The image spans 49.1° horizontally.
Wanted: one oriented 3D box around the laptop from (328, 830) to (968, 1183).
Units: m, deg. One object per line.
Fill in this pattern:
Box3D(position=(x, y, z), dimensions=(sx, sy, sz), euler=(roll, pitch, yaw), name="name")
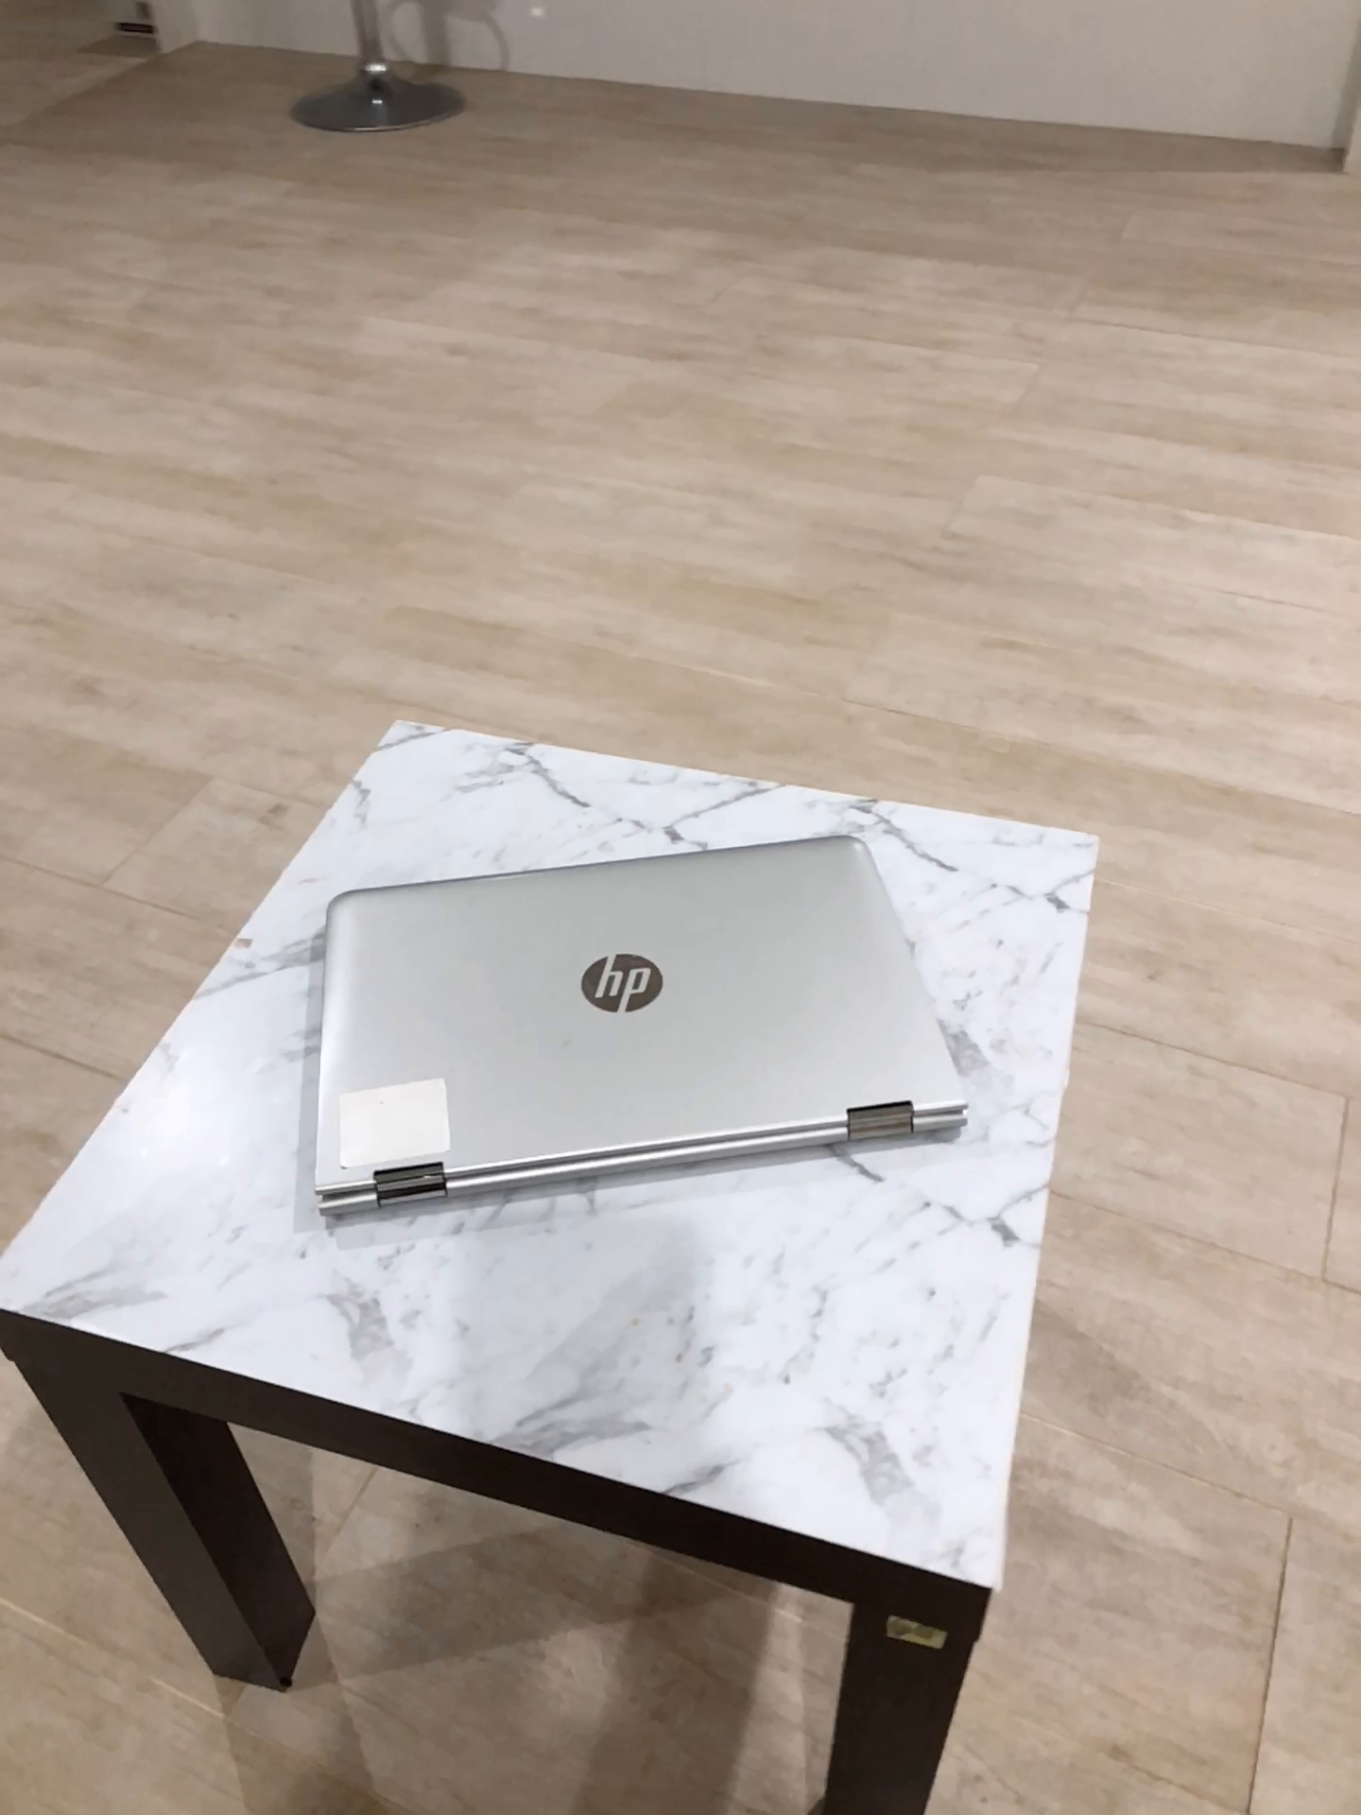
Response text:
Box3D(position=(-0.027, 0.039, 0.745), dimensions=(0.292, 0.001, 0.198), euler=(-7, 43, -6), name="laptop")
